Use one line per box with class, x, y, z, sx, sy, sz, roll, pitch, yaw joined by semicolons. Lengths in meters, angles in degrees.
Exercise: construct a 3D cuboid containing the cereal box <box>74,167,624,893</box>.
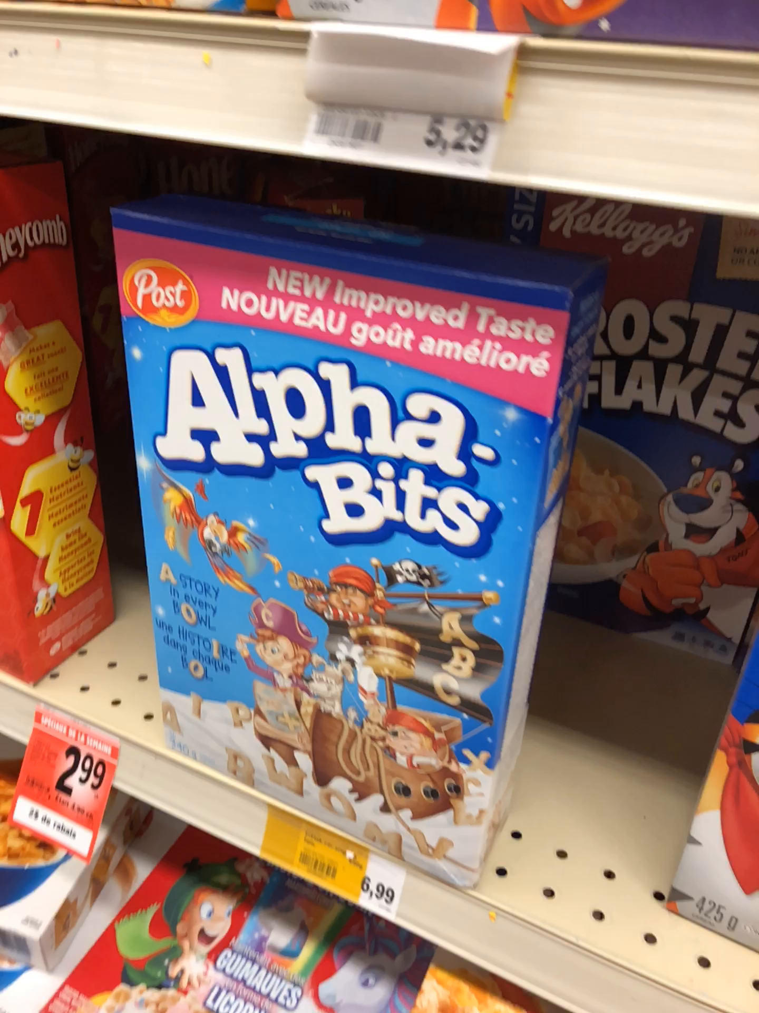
cereal box;-0.023;0.018;0.389;0.200;0.298;0.060;18;35;22
